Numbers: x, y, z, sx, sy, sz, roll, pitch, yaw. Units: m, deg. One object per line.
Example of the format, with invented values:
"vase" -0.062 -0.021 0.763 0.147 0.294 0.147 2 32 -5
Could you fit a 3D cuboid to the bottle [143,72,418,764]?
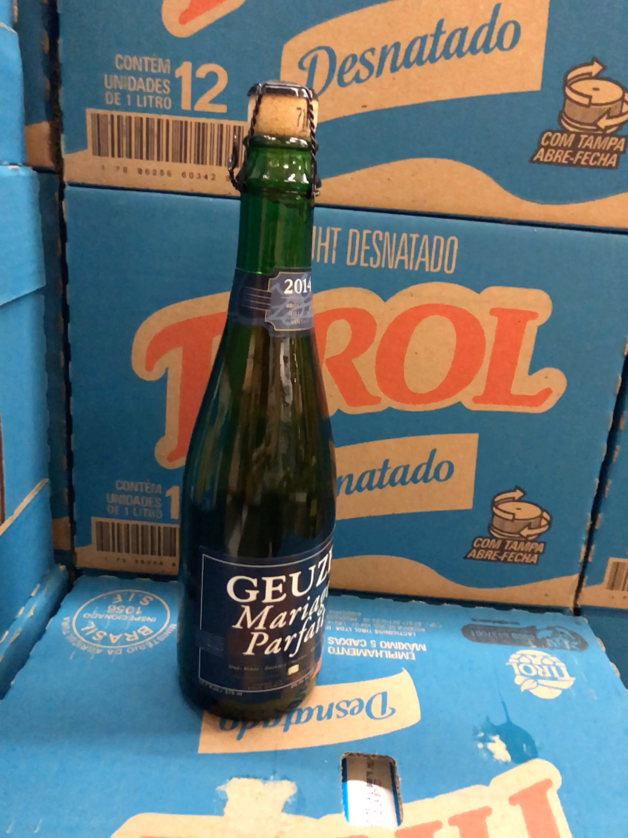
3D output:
"bottle" -0.021 0.005 0.290 0.070 0.258 0.060 -10 24 -40
